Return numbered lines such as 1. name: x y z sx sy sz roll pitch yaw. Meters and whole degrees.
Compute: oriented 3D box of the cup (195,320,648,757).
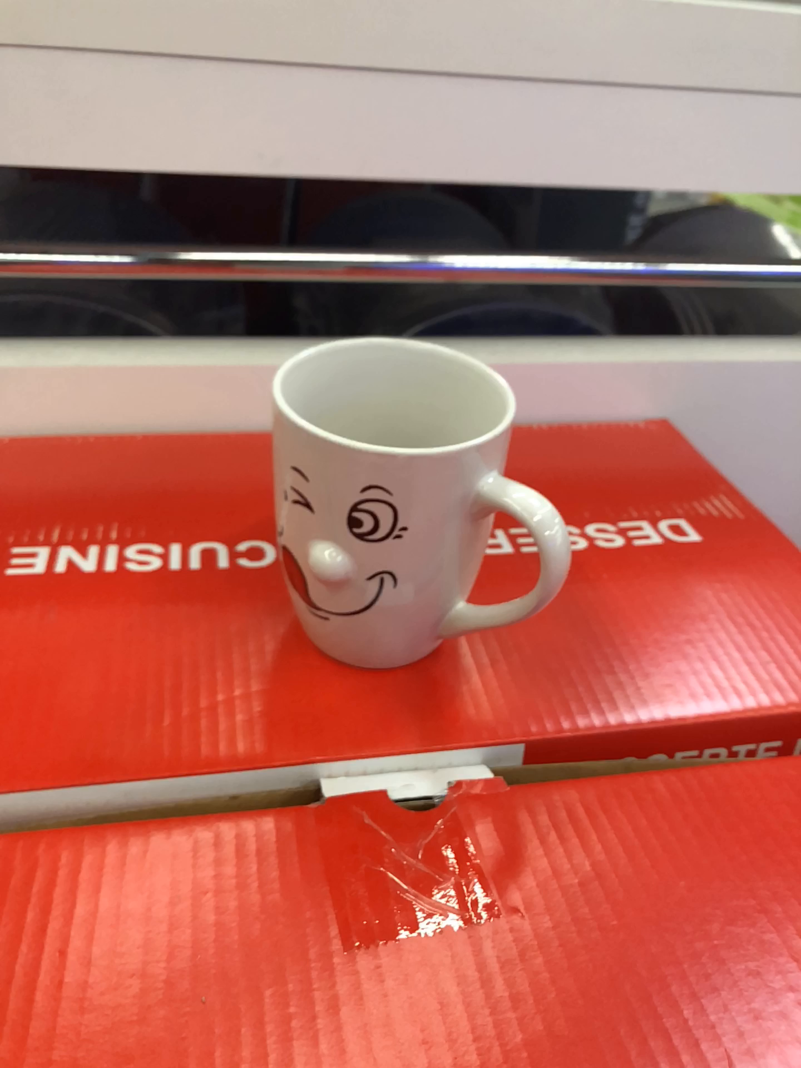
1. cup: 0.005 -0.007 0.328 0.123 0.092 0.093 24 36 27
